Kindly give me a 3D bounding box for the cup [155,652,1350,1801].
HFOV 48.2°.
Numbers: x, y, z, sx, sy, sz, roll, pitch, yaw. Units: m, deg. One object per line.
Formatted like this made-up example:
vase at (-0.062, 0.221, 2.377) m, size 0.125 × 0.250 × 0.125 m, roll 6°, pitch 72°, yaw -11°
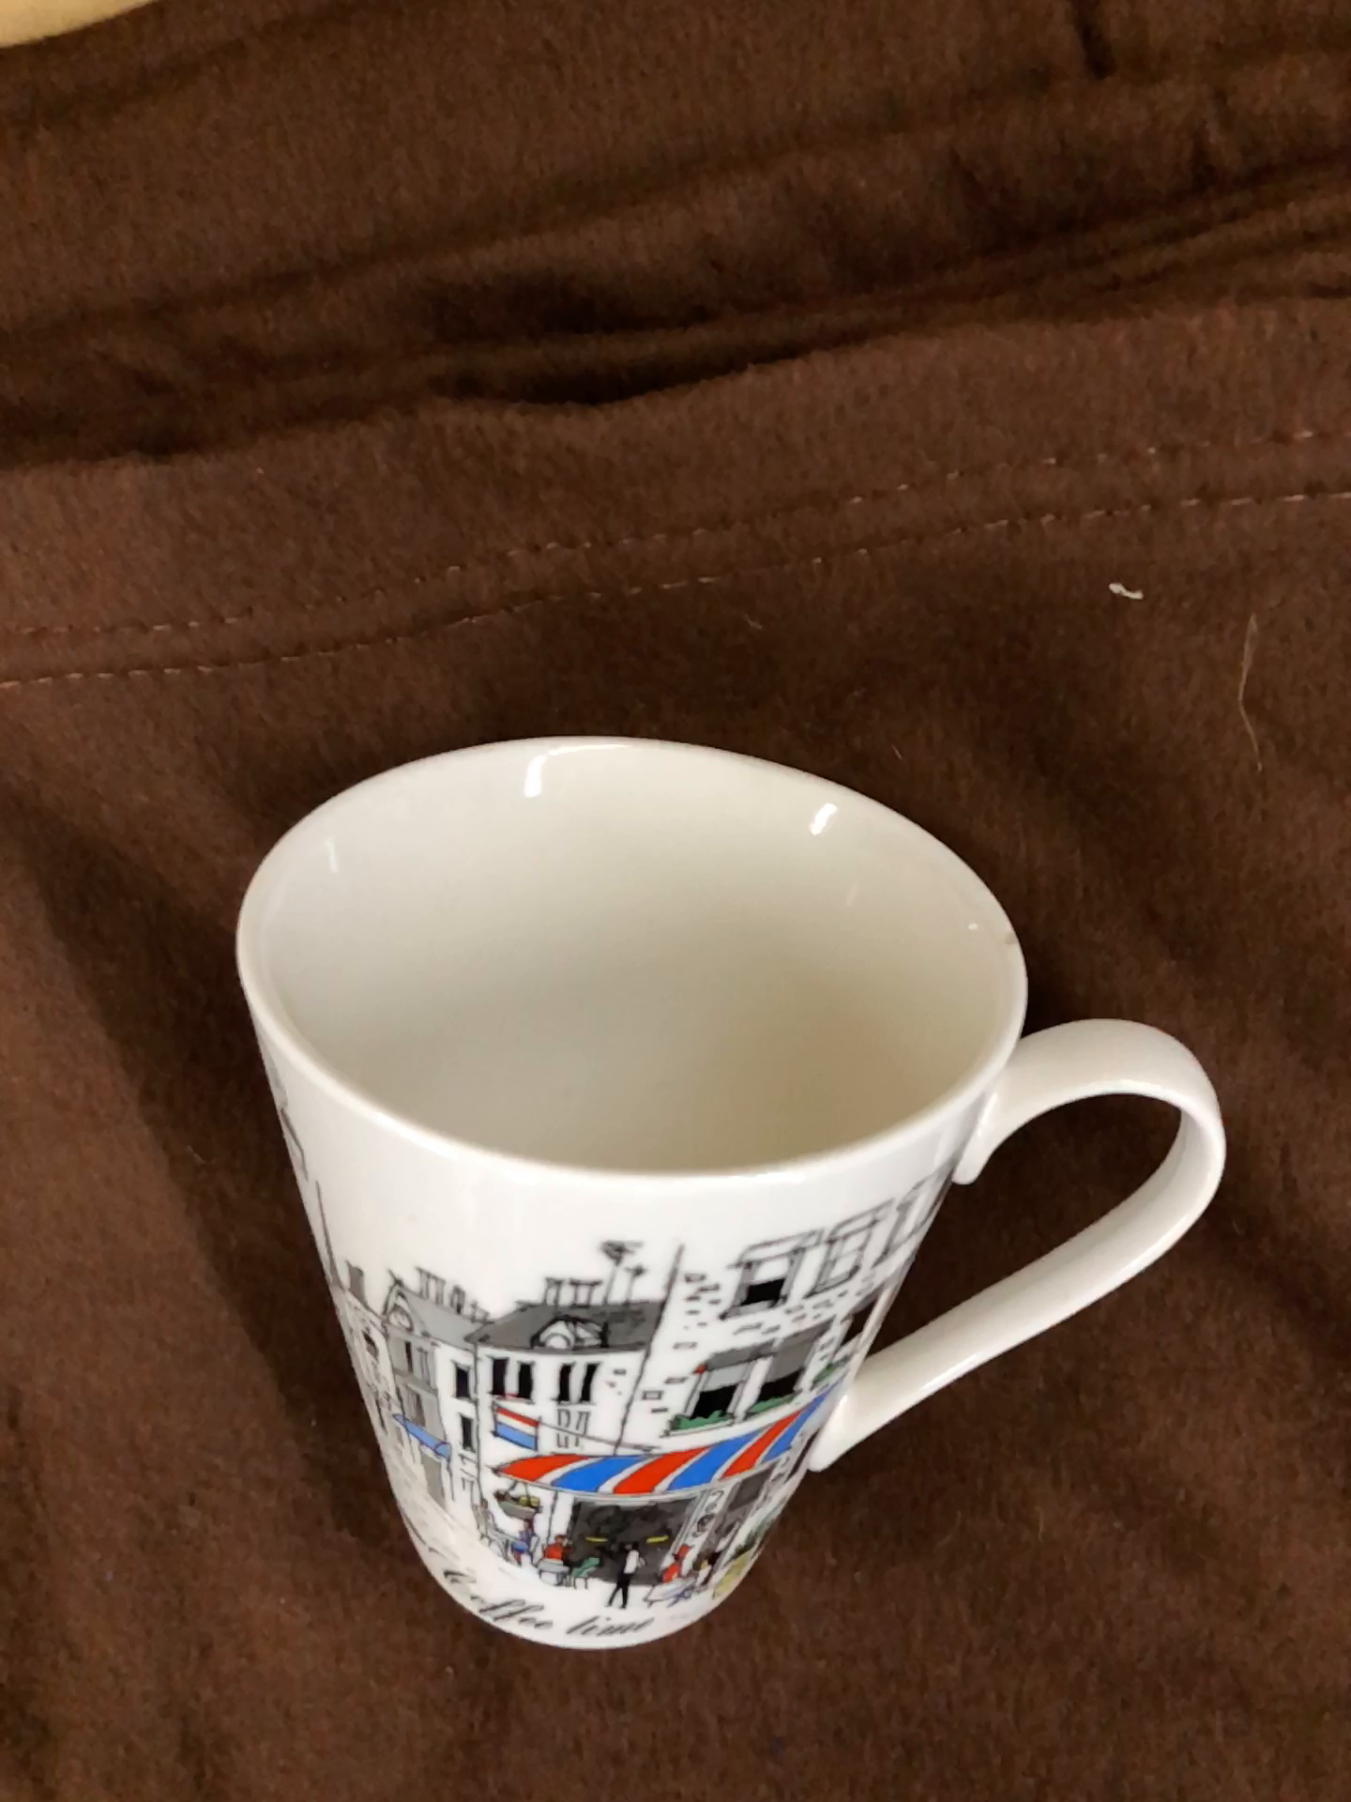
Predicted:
cup at (0.007, 0.041, 0.196) m, size 0.110 × 0.080 × 0.110 m, roll 4°, pitch 122°, yaw 6°
